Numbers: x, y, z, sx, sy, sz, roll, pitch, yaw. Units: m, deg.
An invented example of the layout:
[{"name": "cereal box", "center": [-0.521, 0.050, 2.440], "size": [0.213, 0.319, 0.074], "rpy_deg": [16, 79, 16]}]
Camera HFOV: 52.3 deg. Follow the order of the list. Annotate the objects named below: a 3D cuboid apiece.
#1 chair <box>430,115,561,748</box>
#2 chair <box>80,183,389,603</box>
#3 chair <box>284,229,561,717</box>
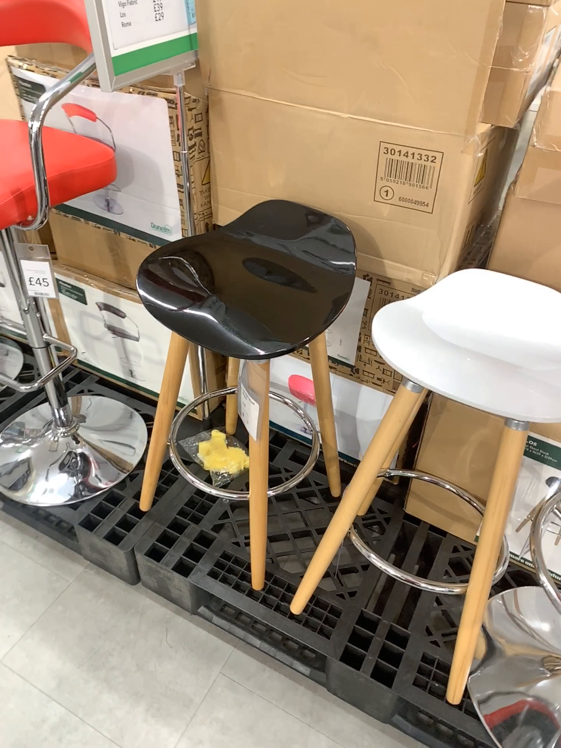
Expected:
[{"name": "chair", "center": [0.615, 0.232, 0.831], "size": [0.475, 0.978, 0.480], "rpy_deg": [21, 41, 22]}, {"name": "chair", "center": [-0.083, 0.042, 1.238], "size": [0.385, 0.721, 0.399], "rpy_deg": [25, 43, 27]}, {"name": "chair", "center": [0.289, 0.186, 1.072], "size": [0.385, 0.721, 0.419], "rpy_deg": [21, 41, 22]}]
